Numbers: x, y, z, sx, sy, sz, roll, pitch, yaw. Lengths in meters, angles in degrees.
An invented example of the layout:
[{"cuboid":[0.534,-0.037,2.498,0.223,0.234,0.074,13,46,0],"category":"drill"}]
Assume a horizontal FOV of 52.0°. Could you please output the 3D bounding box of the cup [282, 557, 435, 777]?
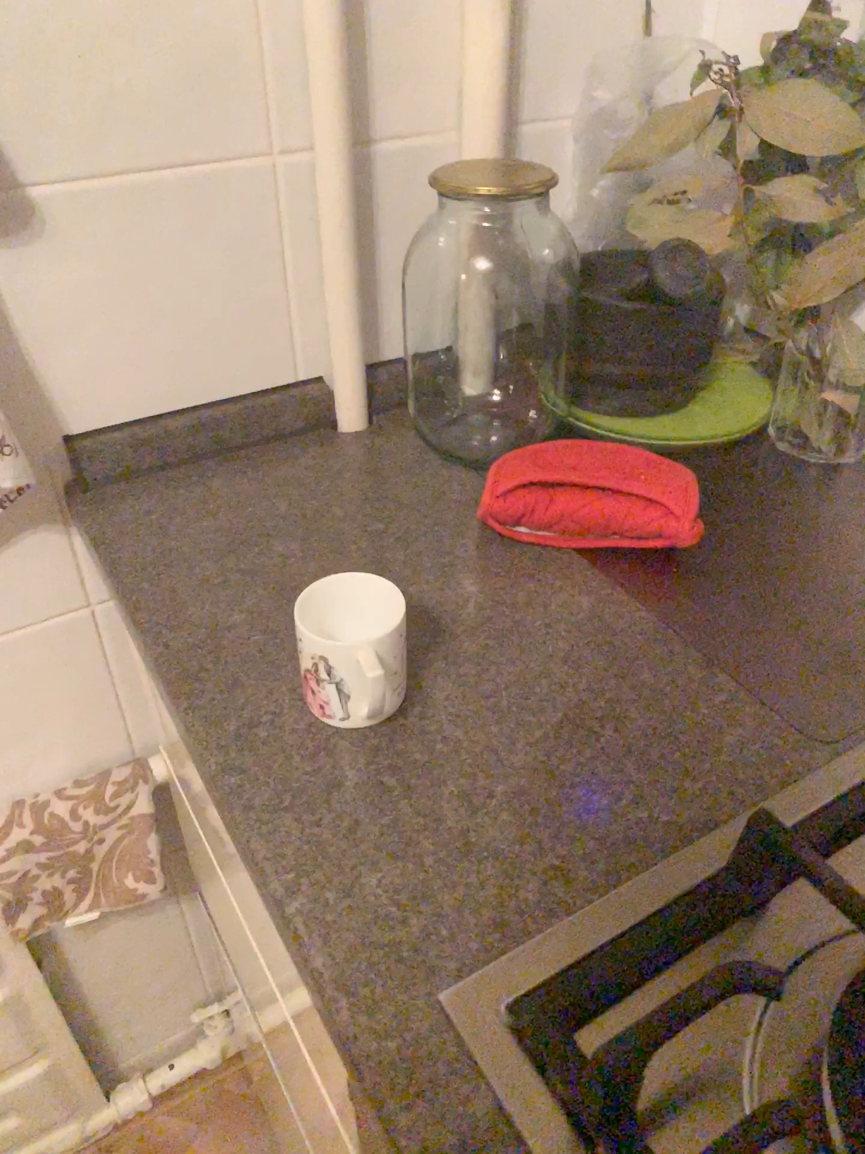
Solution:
[{"cuboid":[-0.039,0.045,0.468,0.060,0.069,0.081,-11,37,-14],"category":"cup"}]
